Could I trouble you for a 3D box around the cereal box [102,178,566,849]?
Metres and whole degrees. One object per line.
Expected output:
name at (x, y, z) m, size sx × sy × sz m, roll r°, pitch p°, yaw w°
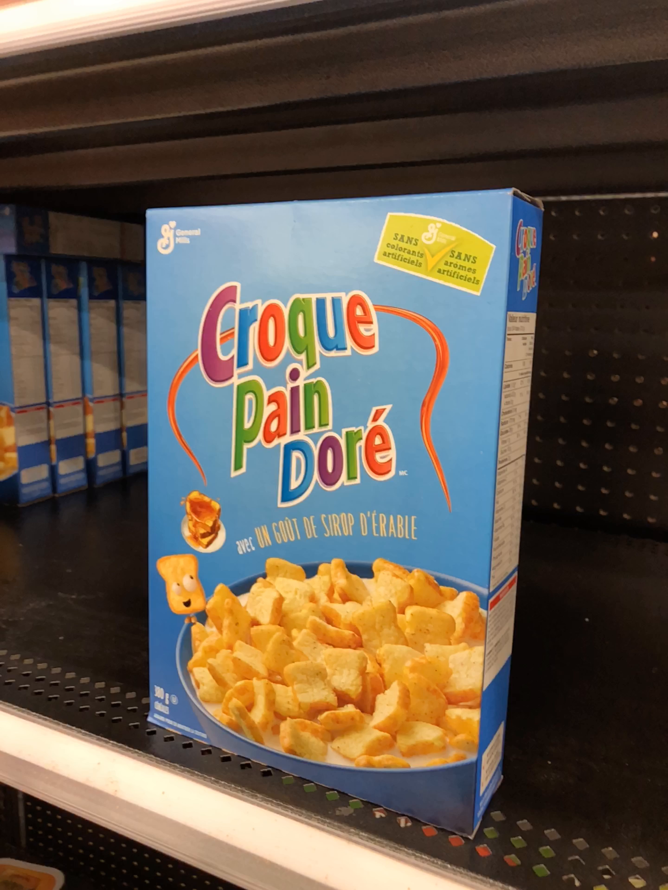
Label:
cereal box at (-0.010, 0.021, 0.362) m, size 0.210 × 0.269 × 0.060 m, roll 7°, pitch 11°, yaw 28°
